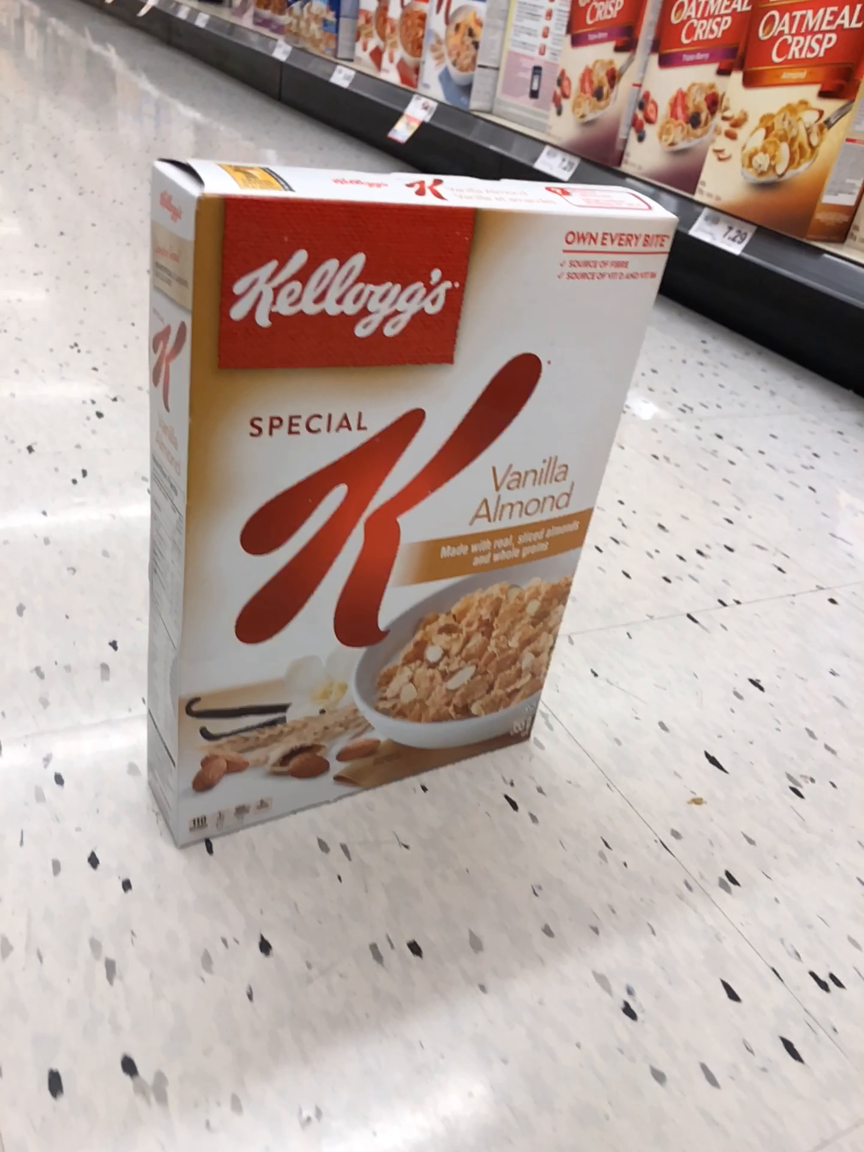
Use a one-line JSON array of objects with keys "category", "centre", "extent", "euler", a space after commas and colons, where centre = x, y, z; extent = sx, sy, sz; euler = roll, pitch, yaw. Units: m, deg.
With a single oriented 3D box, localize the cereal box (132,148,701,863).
[{"category": "cereal box", "centre": [-0.015, -0.023, 0.391], "extent": [0.200, 0.258, 0.050], "euler": [-10, 35, -32]}]
